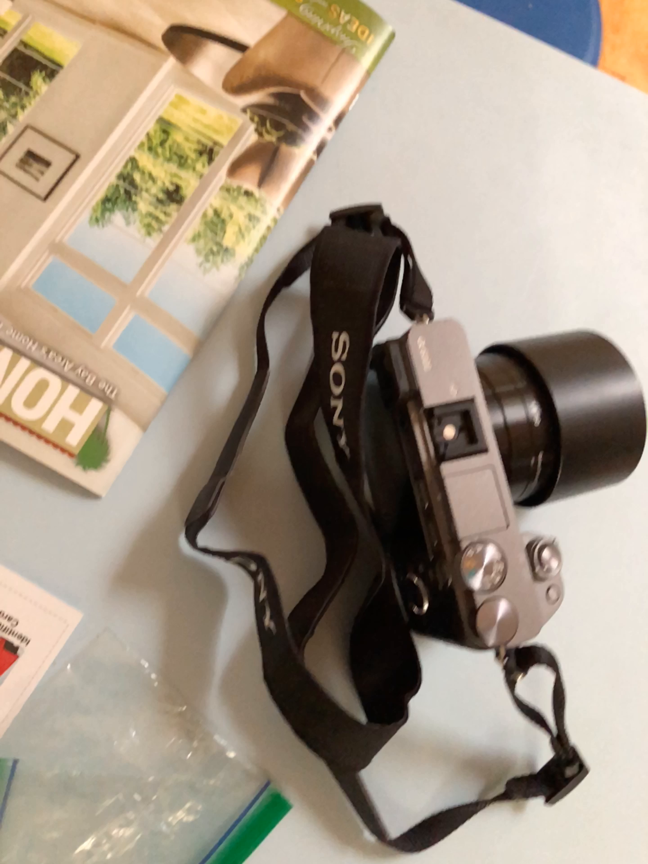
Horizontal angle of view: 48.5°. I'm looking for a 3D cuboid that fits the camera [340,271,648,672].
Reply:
[{"bbox_3d":[0.083,0.014,0.298,0.110,0.070,0.130,-10,82,-18],"label":"camera"}]
